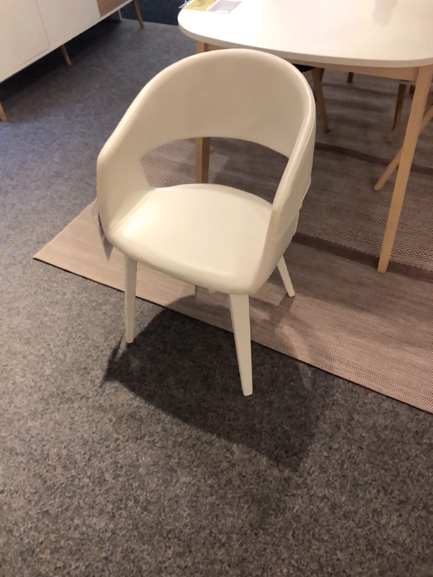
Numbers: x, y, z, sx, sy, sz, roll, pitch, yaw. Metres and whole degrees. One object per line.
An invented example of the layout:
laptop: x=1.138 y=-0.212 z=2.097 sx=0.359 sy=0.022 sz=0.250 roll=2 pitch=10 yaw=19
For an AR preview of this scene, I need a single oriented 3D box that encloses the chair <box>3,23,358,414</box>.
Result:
chair: x=-0.030 y=-0.180 z=1.292 sx=0.550 sy=0.756 sz=0.563 roll=19 pitch=53 yaw=20
